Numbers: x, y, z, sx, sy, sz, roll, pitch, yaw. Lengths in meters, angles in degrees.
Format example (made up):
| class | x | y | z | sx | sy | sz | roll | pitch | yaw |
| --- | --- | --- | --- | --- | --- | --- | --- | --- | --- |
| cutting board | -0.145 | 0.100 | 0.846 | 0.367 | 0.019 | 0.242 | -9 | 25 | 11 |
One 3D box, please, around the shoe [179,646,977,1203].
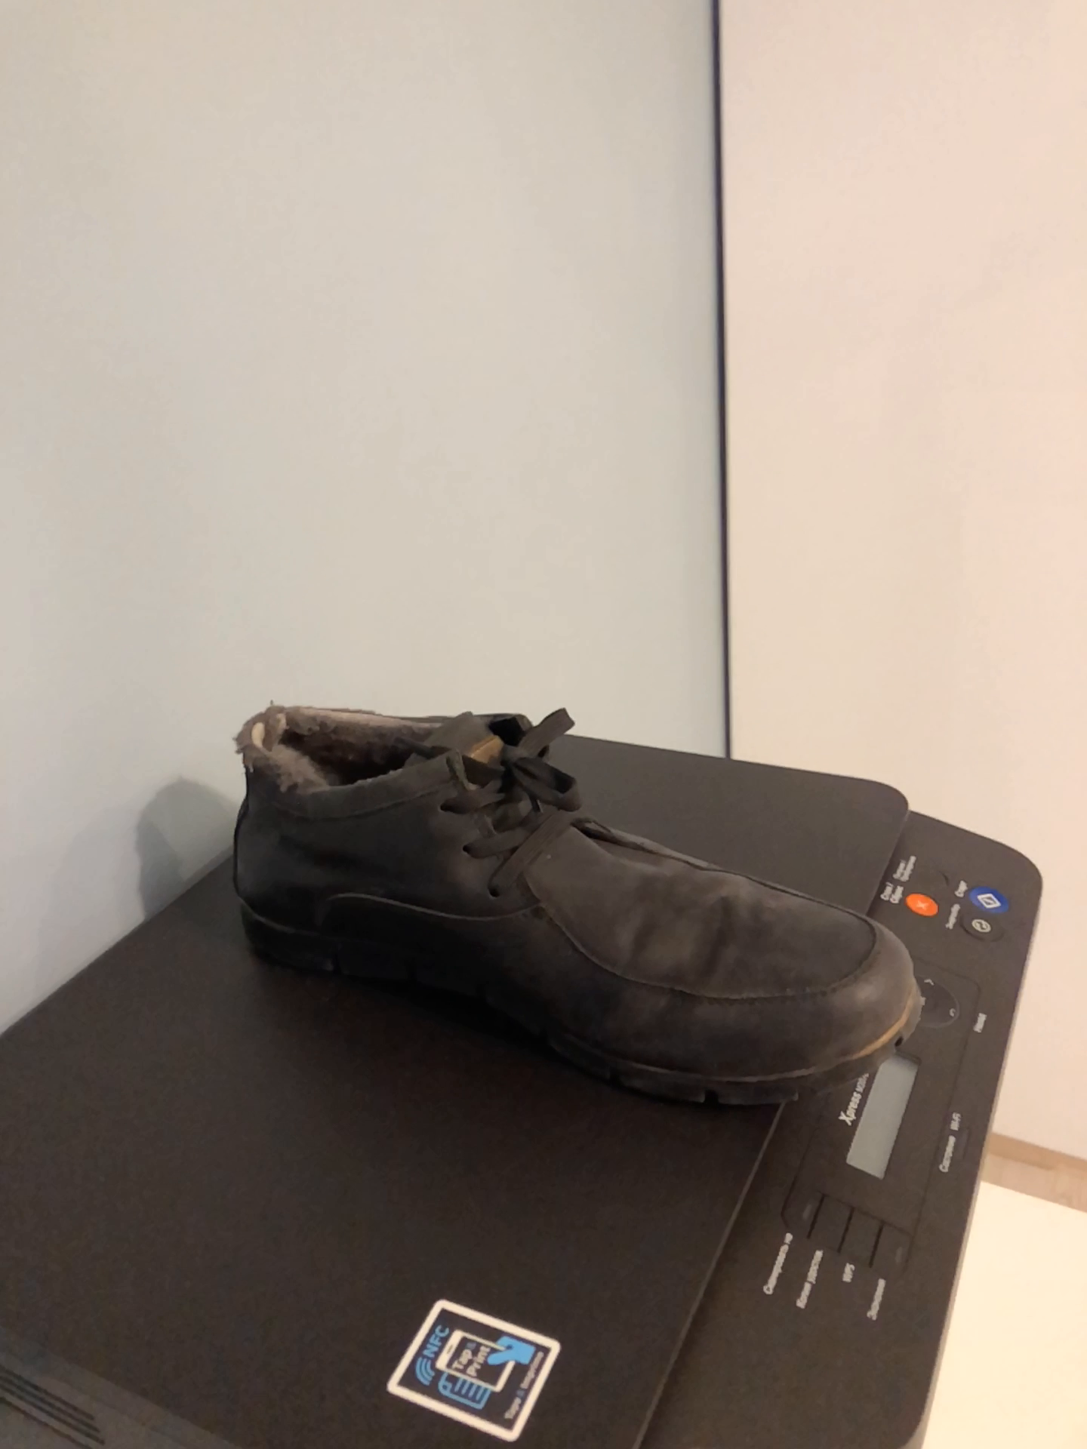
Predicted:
| class | x | y | z | sx | sy | sz | roll | pitch | yaw |
| --- | --- | --- | --- | --- | --- | --- | --- | --- | --- |
| shoe | 0.009 | 0.058 | 0.469 | 0.280 | 0.109 | 0.111 | 11 | 30 | 29 |
